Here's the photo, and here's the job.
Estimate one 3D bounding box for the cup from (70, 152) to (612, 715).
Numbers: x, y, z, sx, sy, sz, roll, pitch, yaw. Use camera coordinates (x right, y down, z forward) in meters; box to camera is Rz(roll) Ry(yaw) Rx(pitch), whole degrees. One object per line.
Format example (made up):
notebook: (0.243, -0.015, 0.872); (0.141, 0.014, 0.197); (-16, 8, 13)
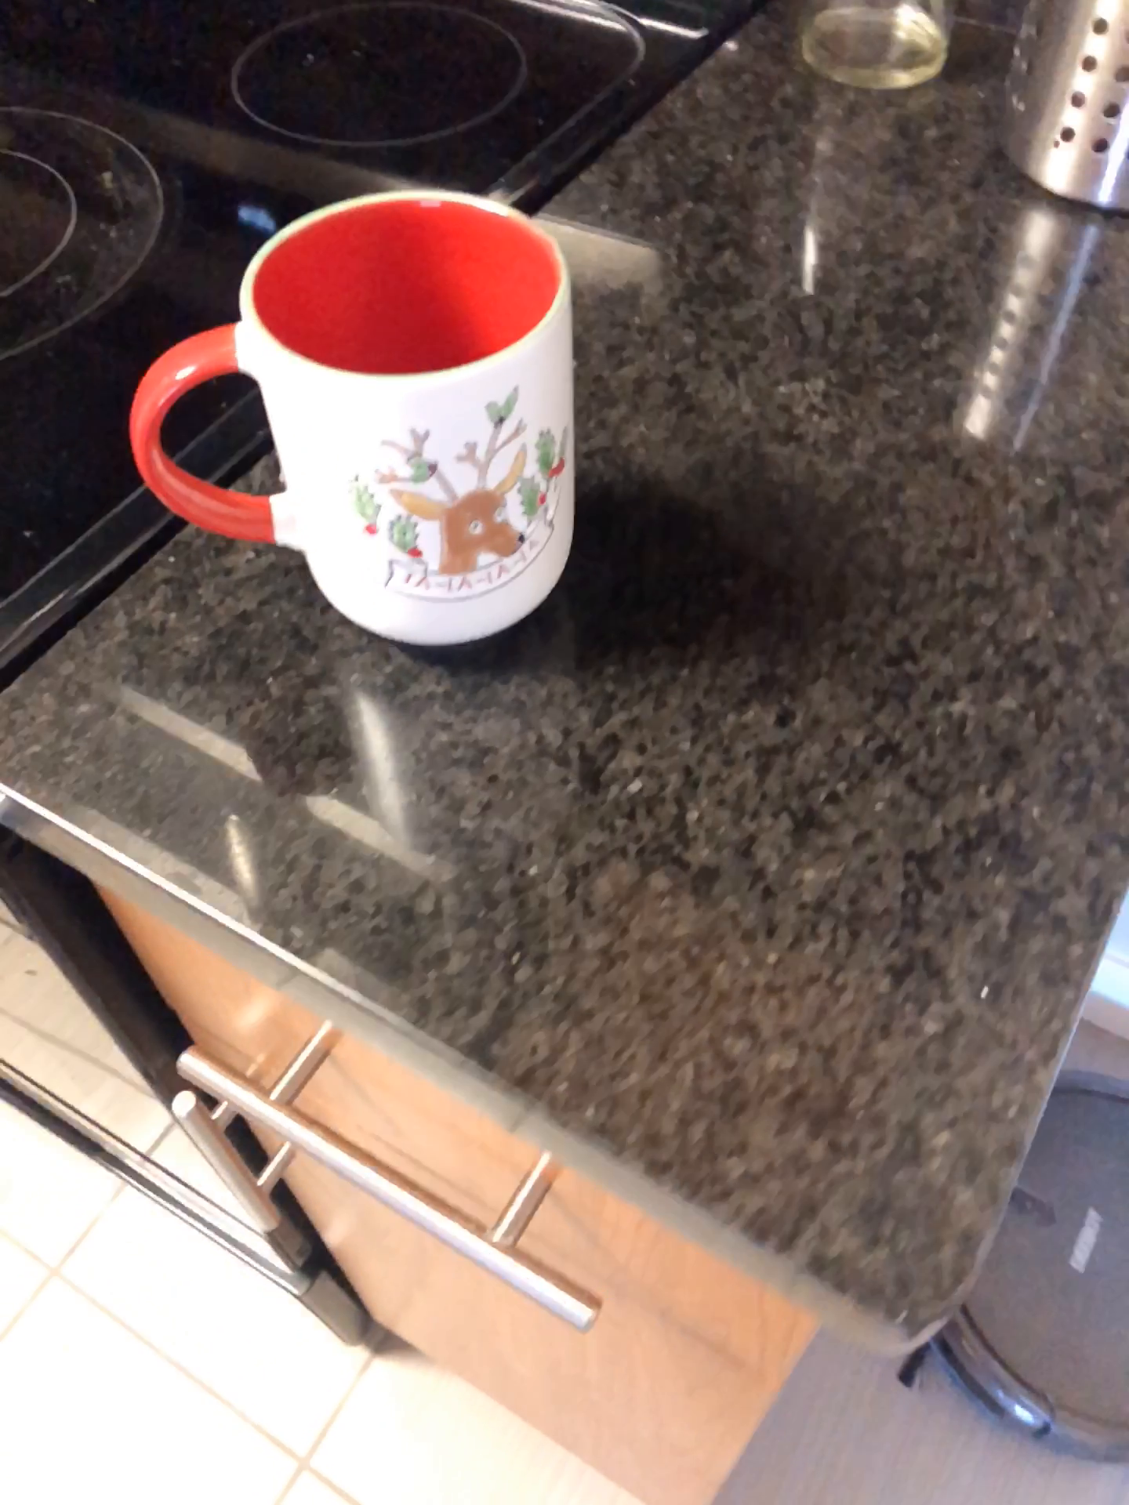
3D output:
cup: (-0.061, -0.093, 0.371); (0.130, 0.110, 0.090); (-12, 54, -8)
